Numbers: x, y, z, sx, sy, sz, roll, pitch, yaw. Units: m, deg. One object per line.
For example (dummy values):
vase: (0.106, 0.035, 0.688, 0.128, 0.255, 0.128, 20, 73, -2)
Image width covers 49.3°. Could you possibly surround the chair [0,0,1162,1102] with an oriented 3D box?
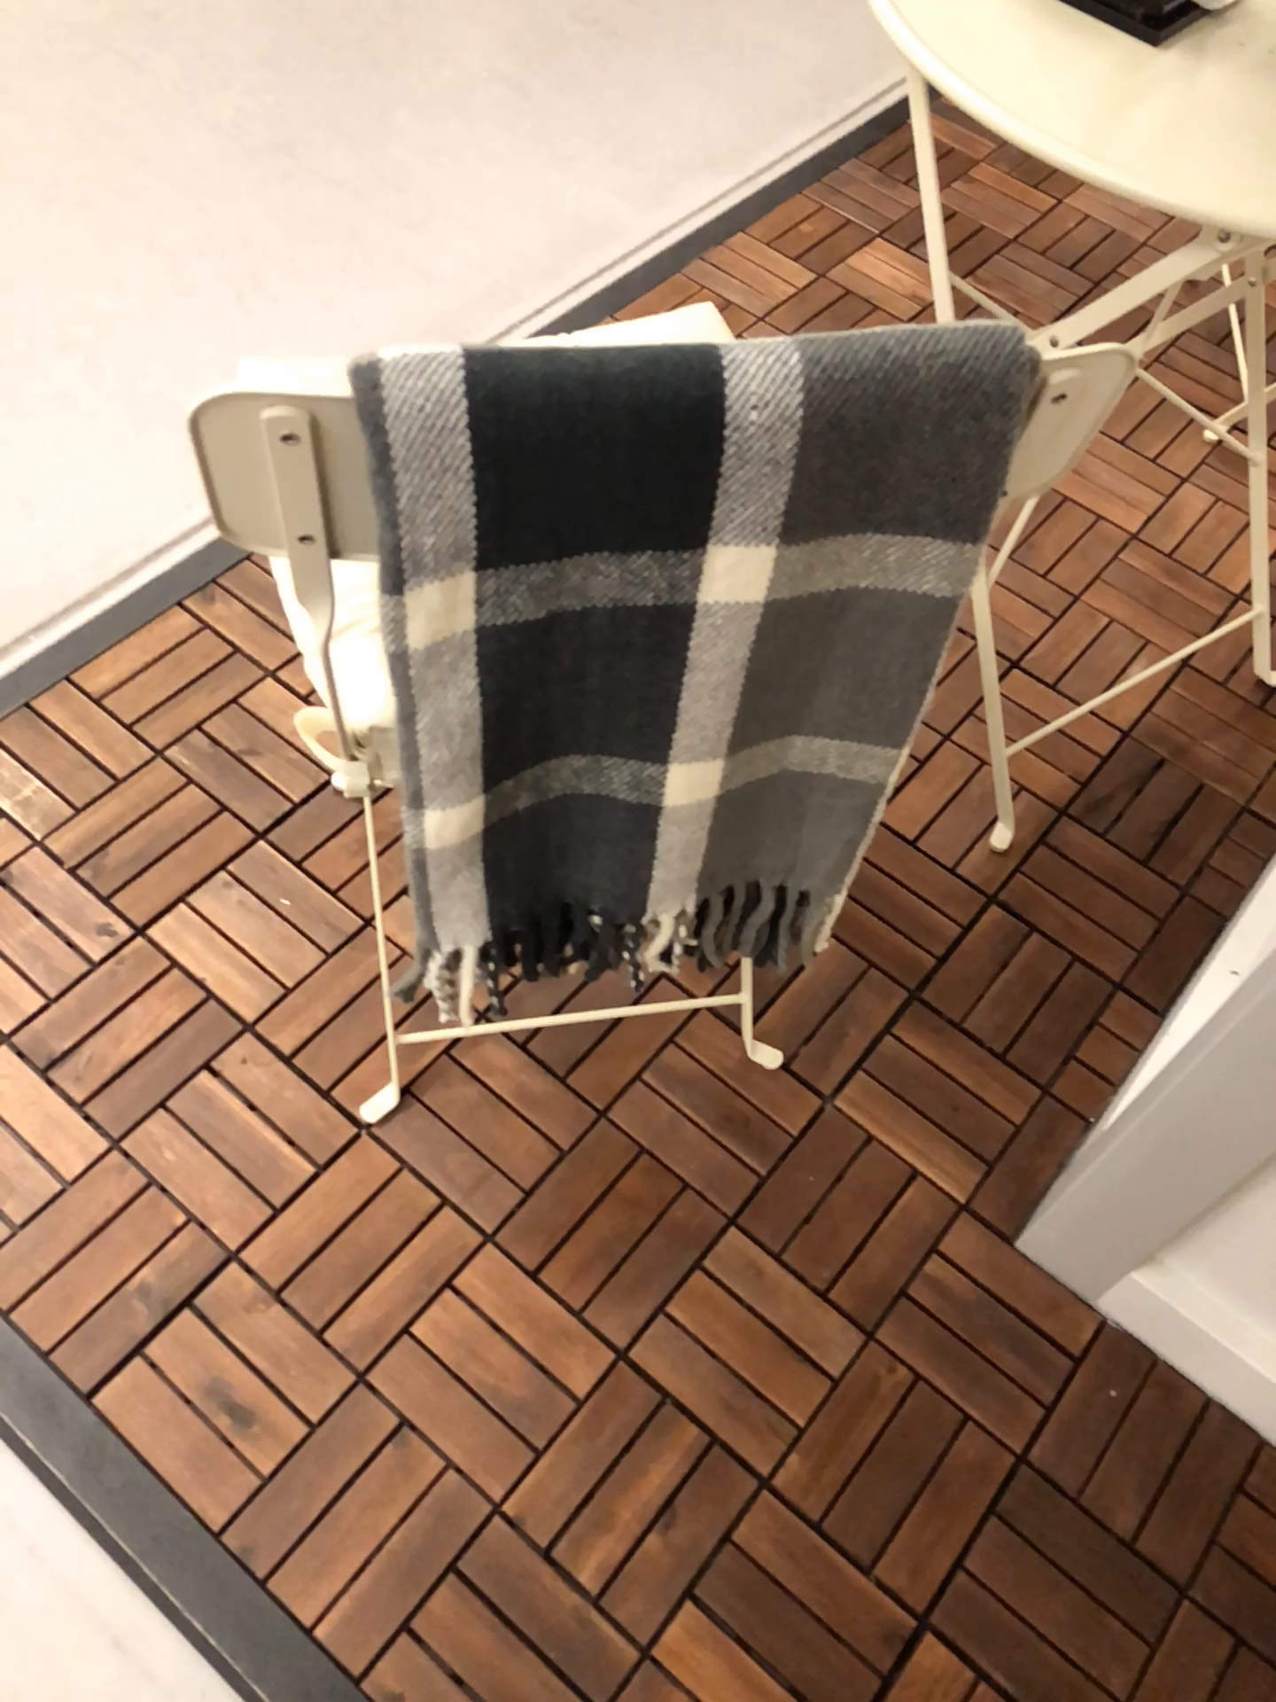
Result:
chair: (-0.105, -0.243, 0.971, 0.490, 0.736, 0.512, -6, 57, -10)
